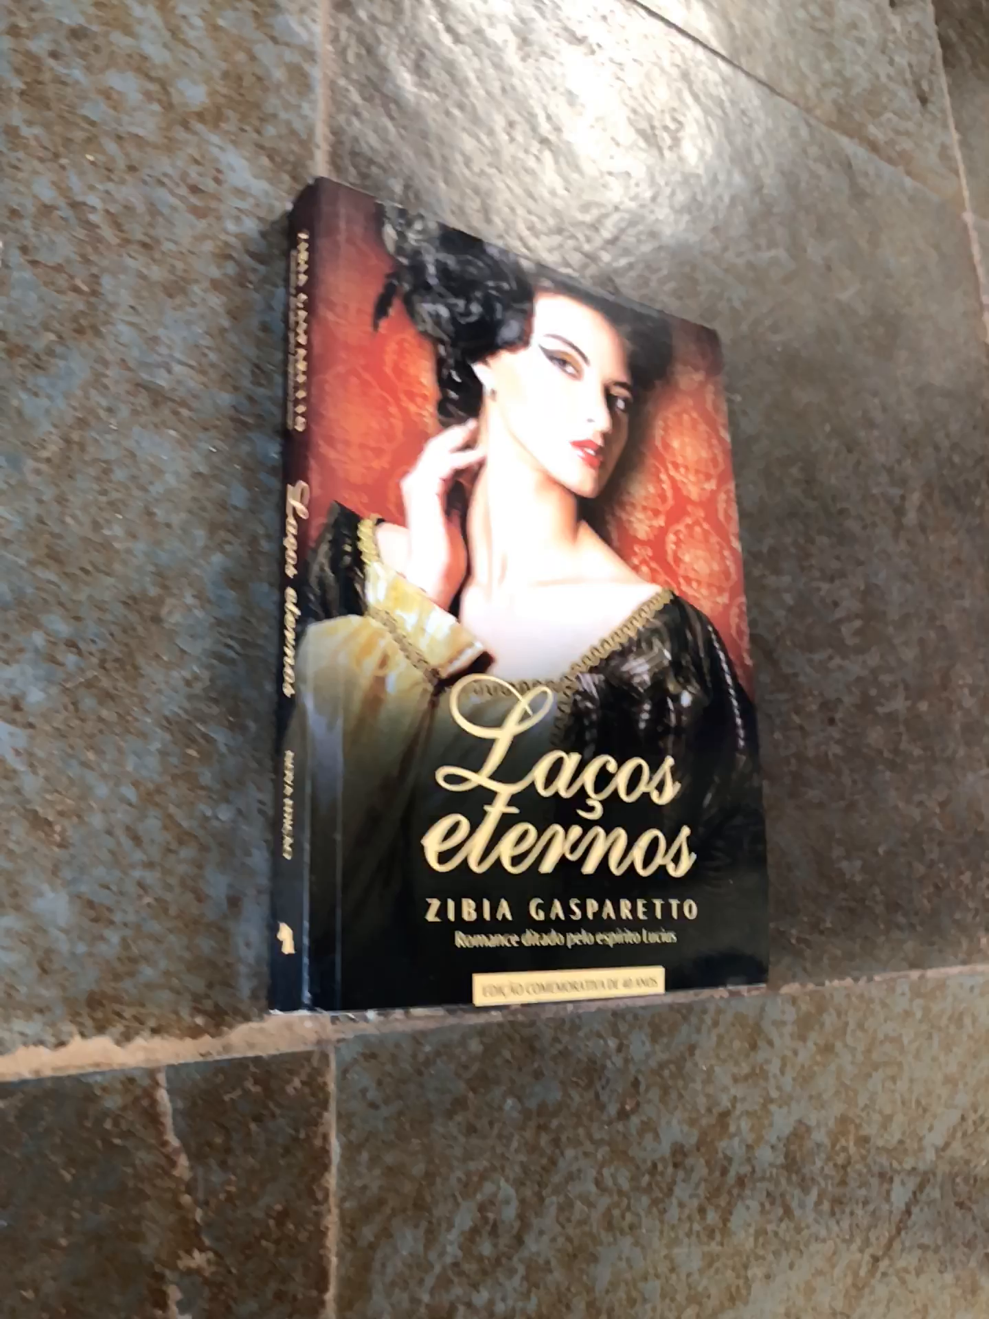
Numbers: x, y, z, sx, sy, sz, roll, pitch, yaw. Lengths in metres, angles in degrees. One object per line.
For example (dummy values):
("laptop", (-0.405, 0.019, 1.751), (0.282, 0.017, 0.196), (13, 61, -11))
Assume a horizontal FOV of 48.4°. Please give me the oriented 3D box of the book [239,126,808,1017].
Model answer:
("book", (0.012, -0.017, 0.293), (0.154, 0.026, 0.204), (9, 71, -36))
